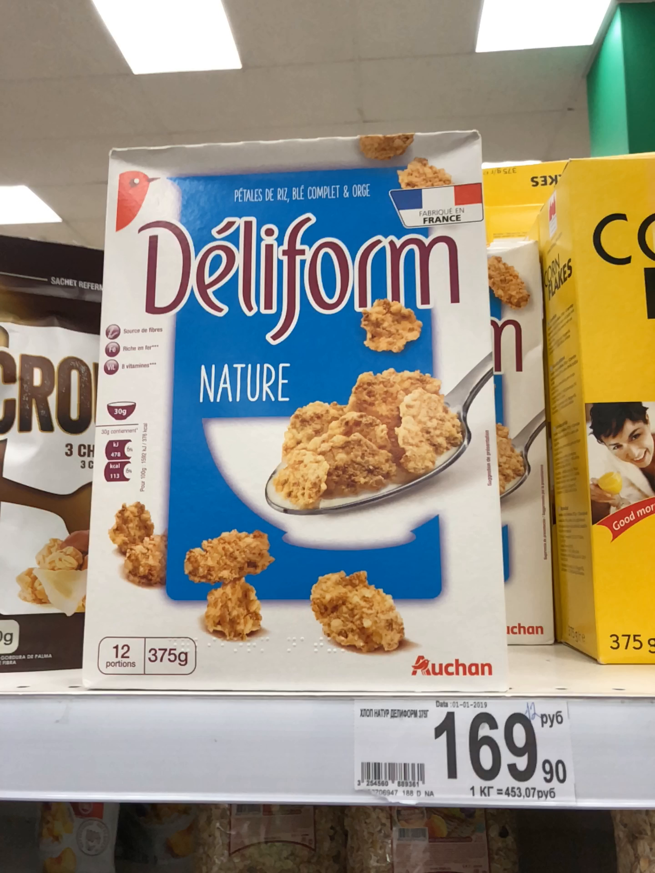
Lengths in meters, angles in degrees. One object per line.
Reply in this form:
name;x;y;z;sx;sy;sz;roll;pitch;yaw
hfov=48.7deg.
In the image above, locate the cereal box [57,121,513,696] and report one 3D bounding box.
cereal box;-0.019;-0.016;0.369;0.200;0.271;0.060;-1;-11;4
